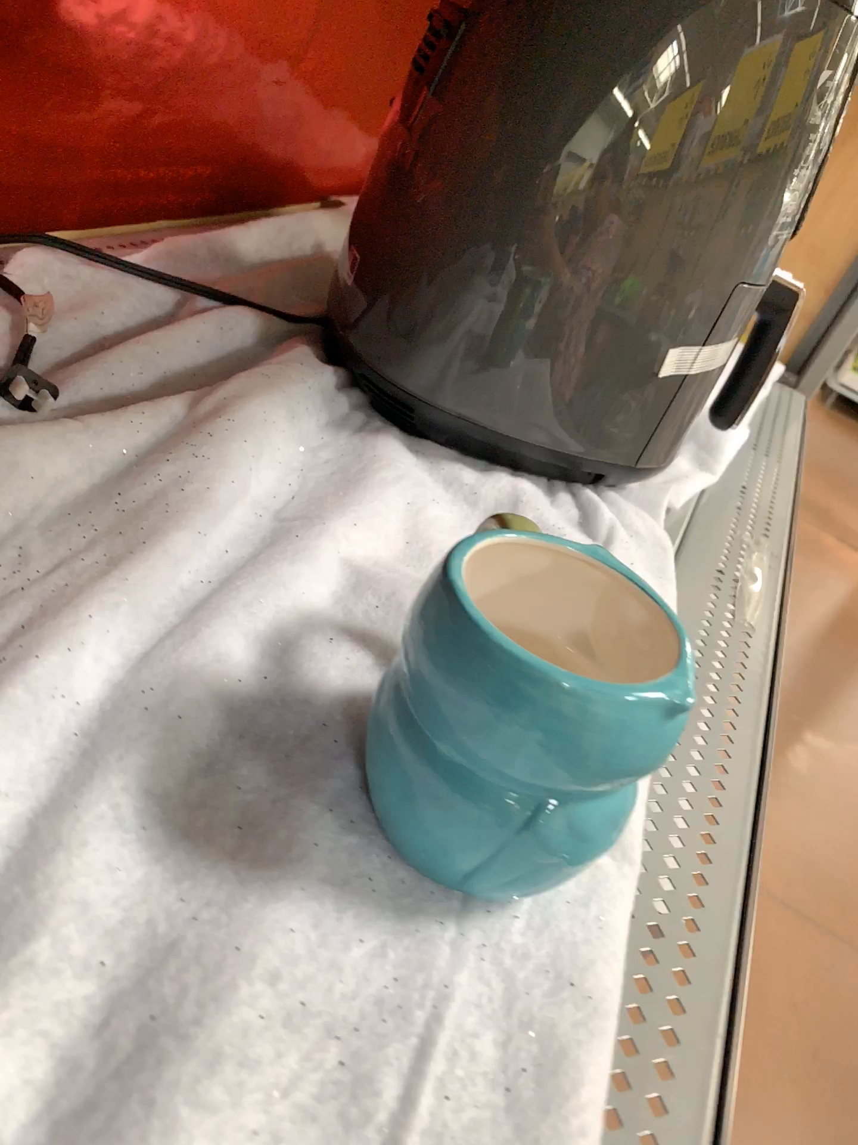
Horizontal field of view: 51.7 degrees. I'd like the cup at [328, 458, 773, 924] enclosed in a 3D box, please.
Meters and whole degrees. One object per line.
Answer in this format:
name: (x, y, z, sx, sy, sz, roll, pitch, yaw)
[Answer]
cup: (0.031, 0.041, 0.323, 0.108, 0.087, 0.128, 13, 34, -19)
